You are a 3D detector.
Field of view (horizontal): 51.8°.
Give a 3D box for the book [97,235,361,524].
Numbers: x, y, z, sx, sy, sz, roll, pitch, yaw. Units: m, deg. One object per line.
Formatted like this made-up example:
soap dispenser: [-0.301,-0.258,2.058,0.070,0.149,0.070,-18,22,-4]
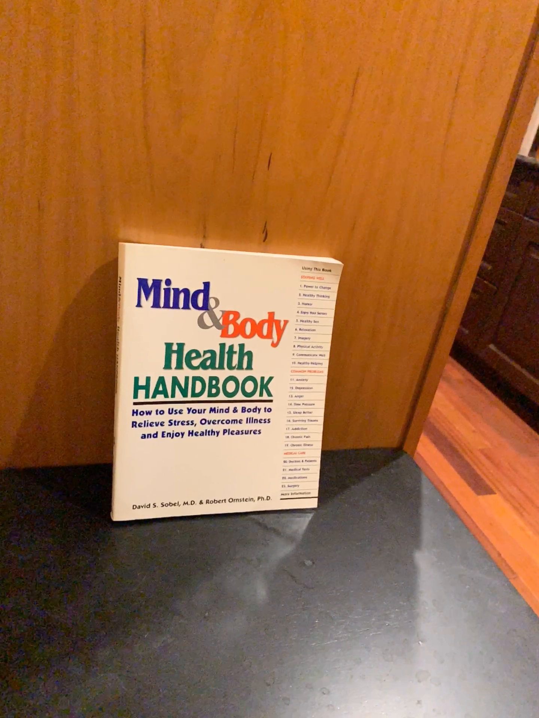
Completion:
book: [-0.036,0.019,0.482,0.210,0.230,0.040,1,10,-18]
